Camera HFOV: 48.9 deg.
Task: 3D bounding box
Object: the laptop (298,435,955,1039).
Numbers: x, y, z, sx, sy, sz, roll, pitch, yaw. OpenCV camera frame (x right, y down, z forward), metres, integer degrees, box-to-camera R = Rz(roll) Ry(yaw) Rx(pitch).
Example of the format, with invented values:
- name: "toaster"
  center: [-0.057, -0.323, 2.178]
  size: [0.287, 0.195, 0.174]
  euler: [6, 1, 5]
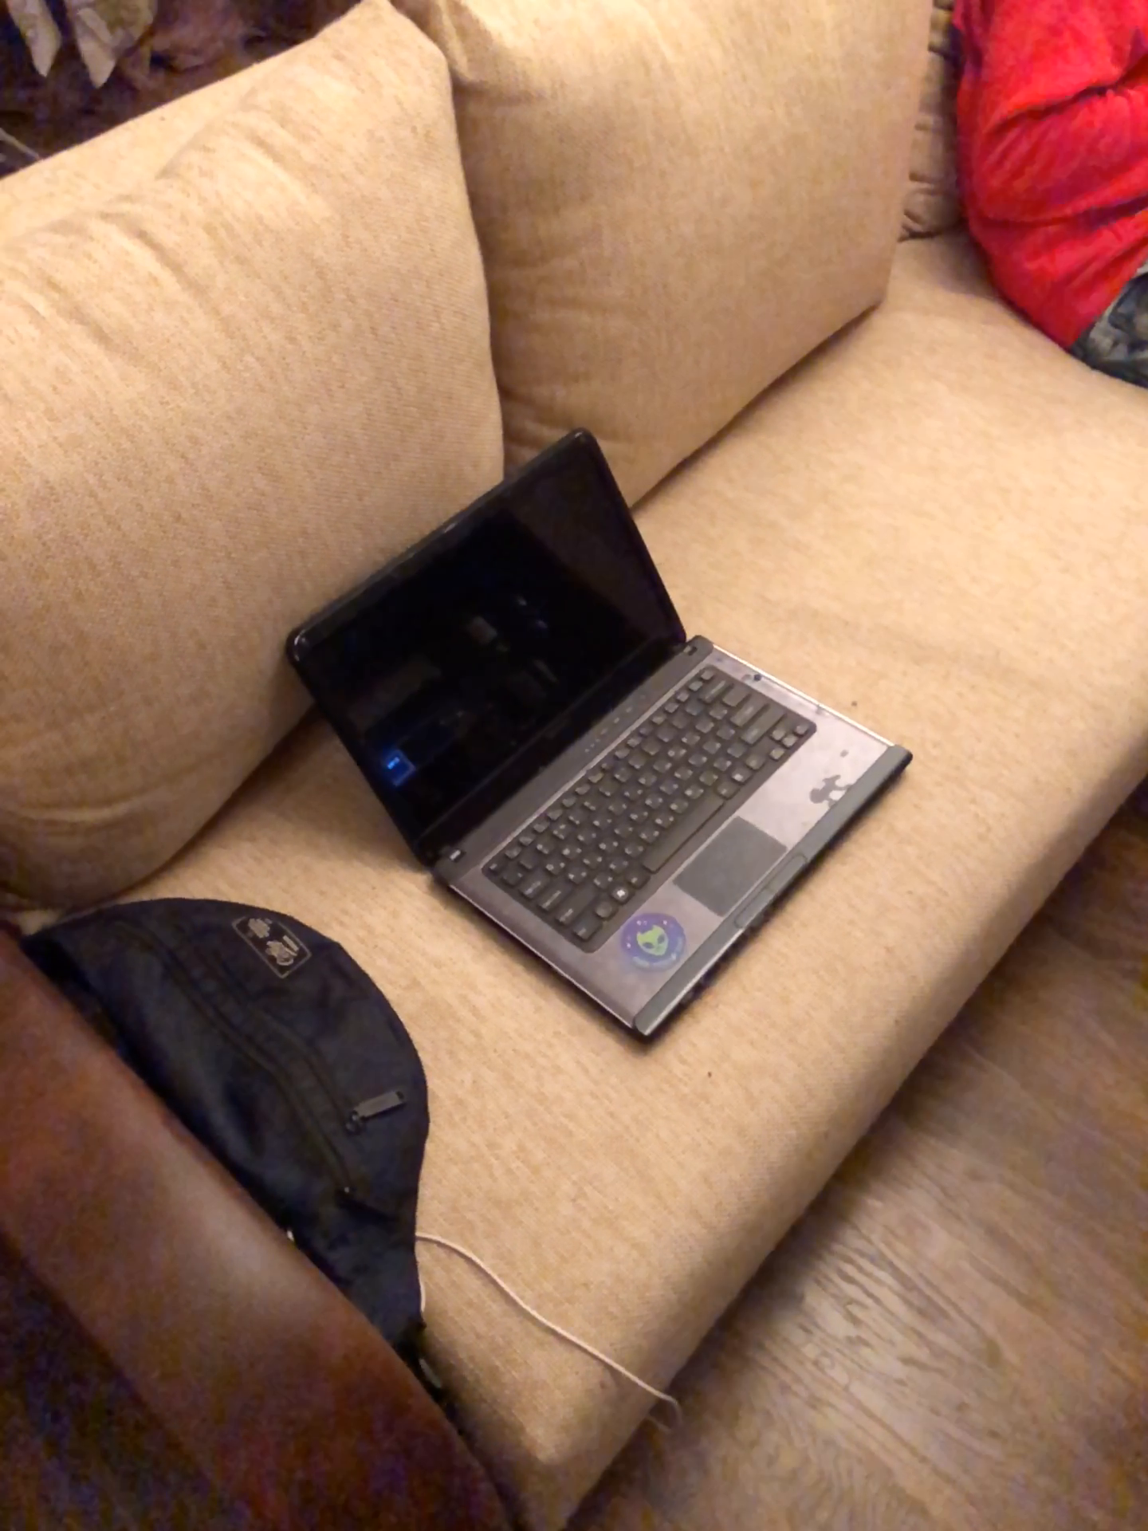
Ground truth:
- name: "laptop"
  center: [0.039, -0.043, 1.001]
  size: [0.350, 0.174, 0.339]
  euler: [33, 60, 26]
